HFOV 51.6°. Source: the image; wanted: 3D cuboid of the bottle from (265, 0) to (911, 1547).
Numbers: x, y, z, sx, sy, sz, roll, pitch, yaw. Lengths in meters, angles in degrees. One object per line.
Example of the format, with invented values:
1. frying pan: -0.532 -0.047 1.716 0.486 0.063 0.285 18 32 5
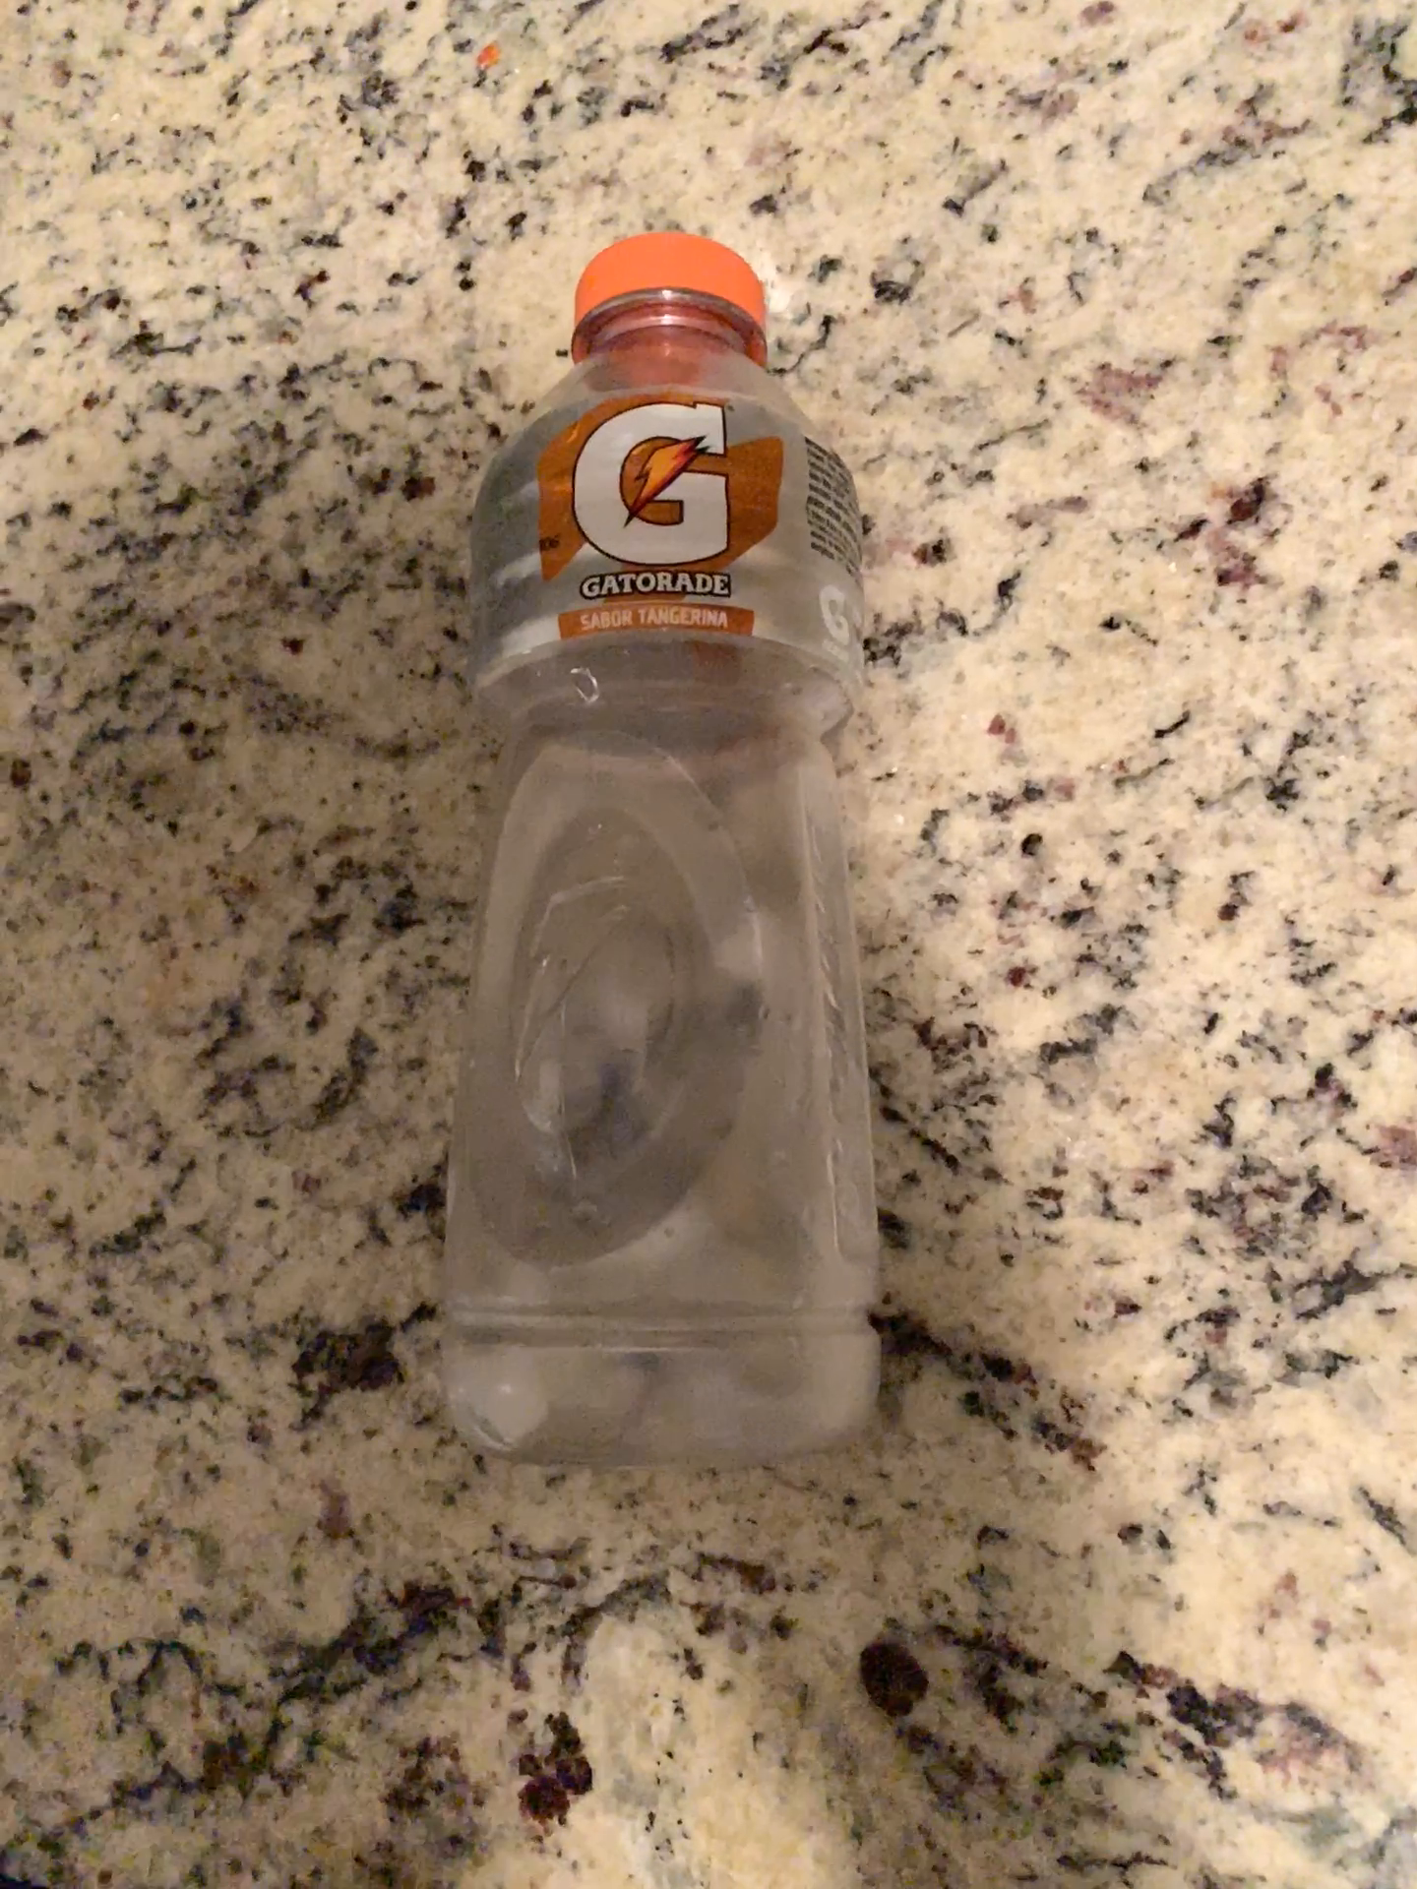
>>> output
1. bottle: -0.014 -0.029 0.234 0.070 0.070 0.220 -5 77 20
